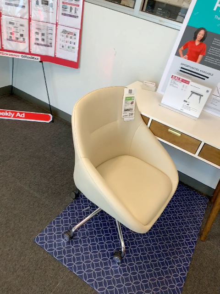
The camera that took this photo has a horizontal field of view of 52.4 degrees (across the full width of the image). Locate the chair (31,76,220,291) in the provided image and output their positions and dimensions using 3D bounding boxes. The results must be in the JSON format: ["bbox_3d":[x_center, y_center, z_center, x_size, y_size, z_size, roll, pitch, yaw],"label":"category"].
[{"bbox_3d":[0.061,0.138,1.281,0.691,0.736,0.673,28,38,19],"label":"chair"}]
